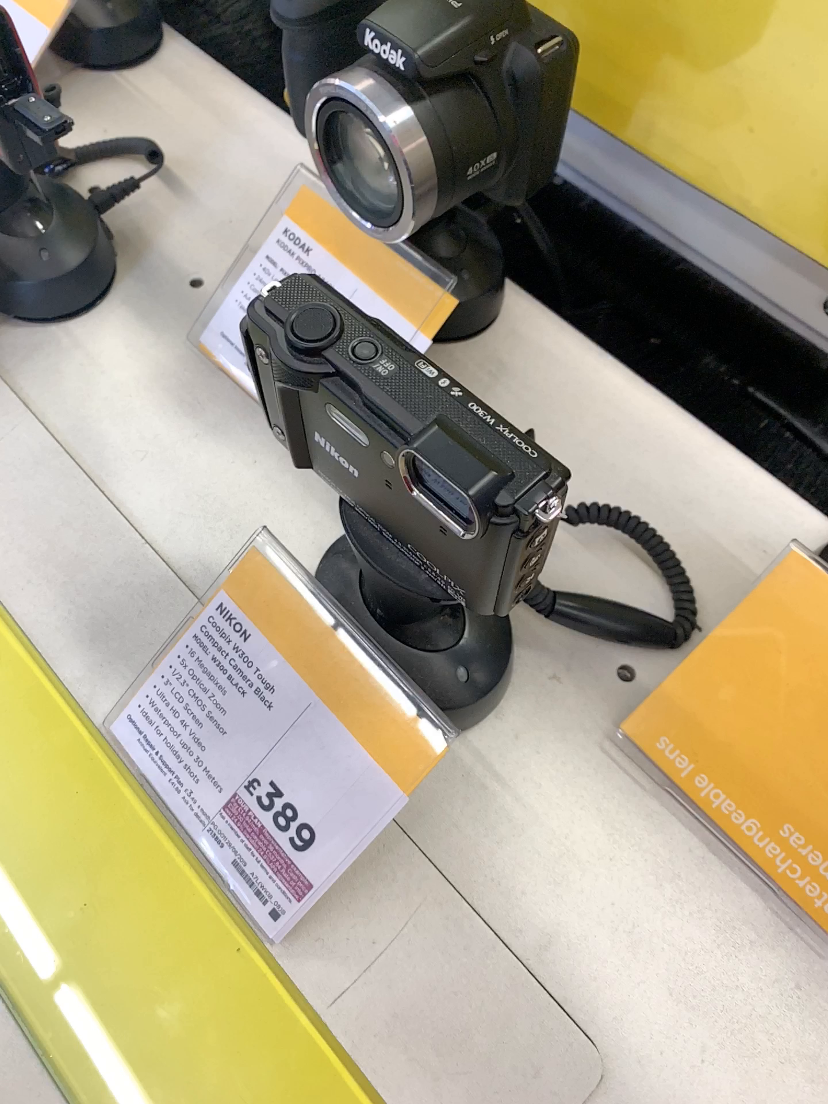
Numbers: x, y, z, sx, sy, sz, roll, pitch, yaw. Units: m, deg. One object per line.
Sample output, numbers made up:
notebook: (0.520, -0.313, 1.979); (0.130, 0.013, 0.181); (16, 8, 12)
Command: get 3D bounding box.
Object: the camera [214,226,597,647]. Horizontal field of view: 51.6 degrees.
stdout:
camera: (-0.006, -0.034, 0.263); (0.030, 0.070, 0.120); (-40, 68, -19)
